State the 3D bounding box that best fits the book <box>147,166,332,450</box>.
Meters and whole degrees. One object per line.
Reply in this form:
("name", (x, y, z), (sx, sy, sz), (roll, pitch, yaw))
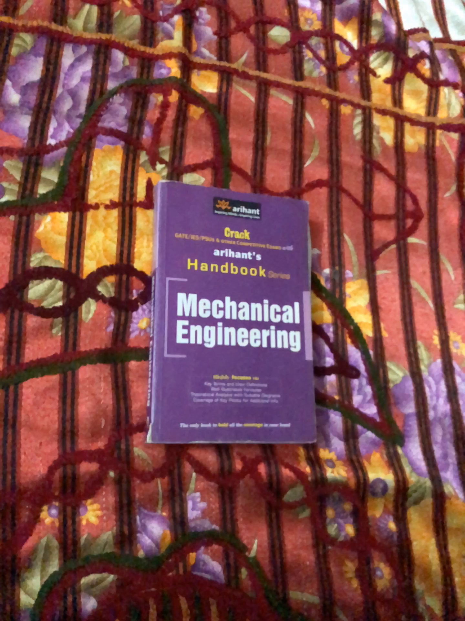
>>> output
("book", (0.005, -0.001, 0.454), (0.147, 0.040, 0.231), (4, 76, -19))
